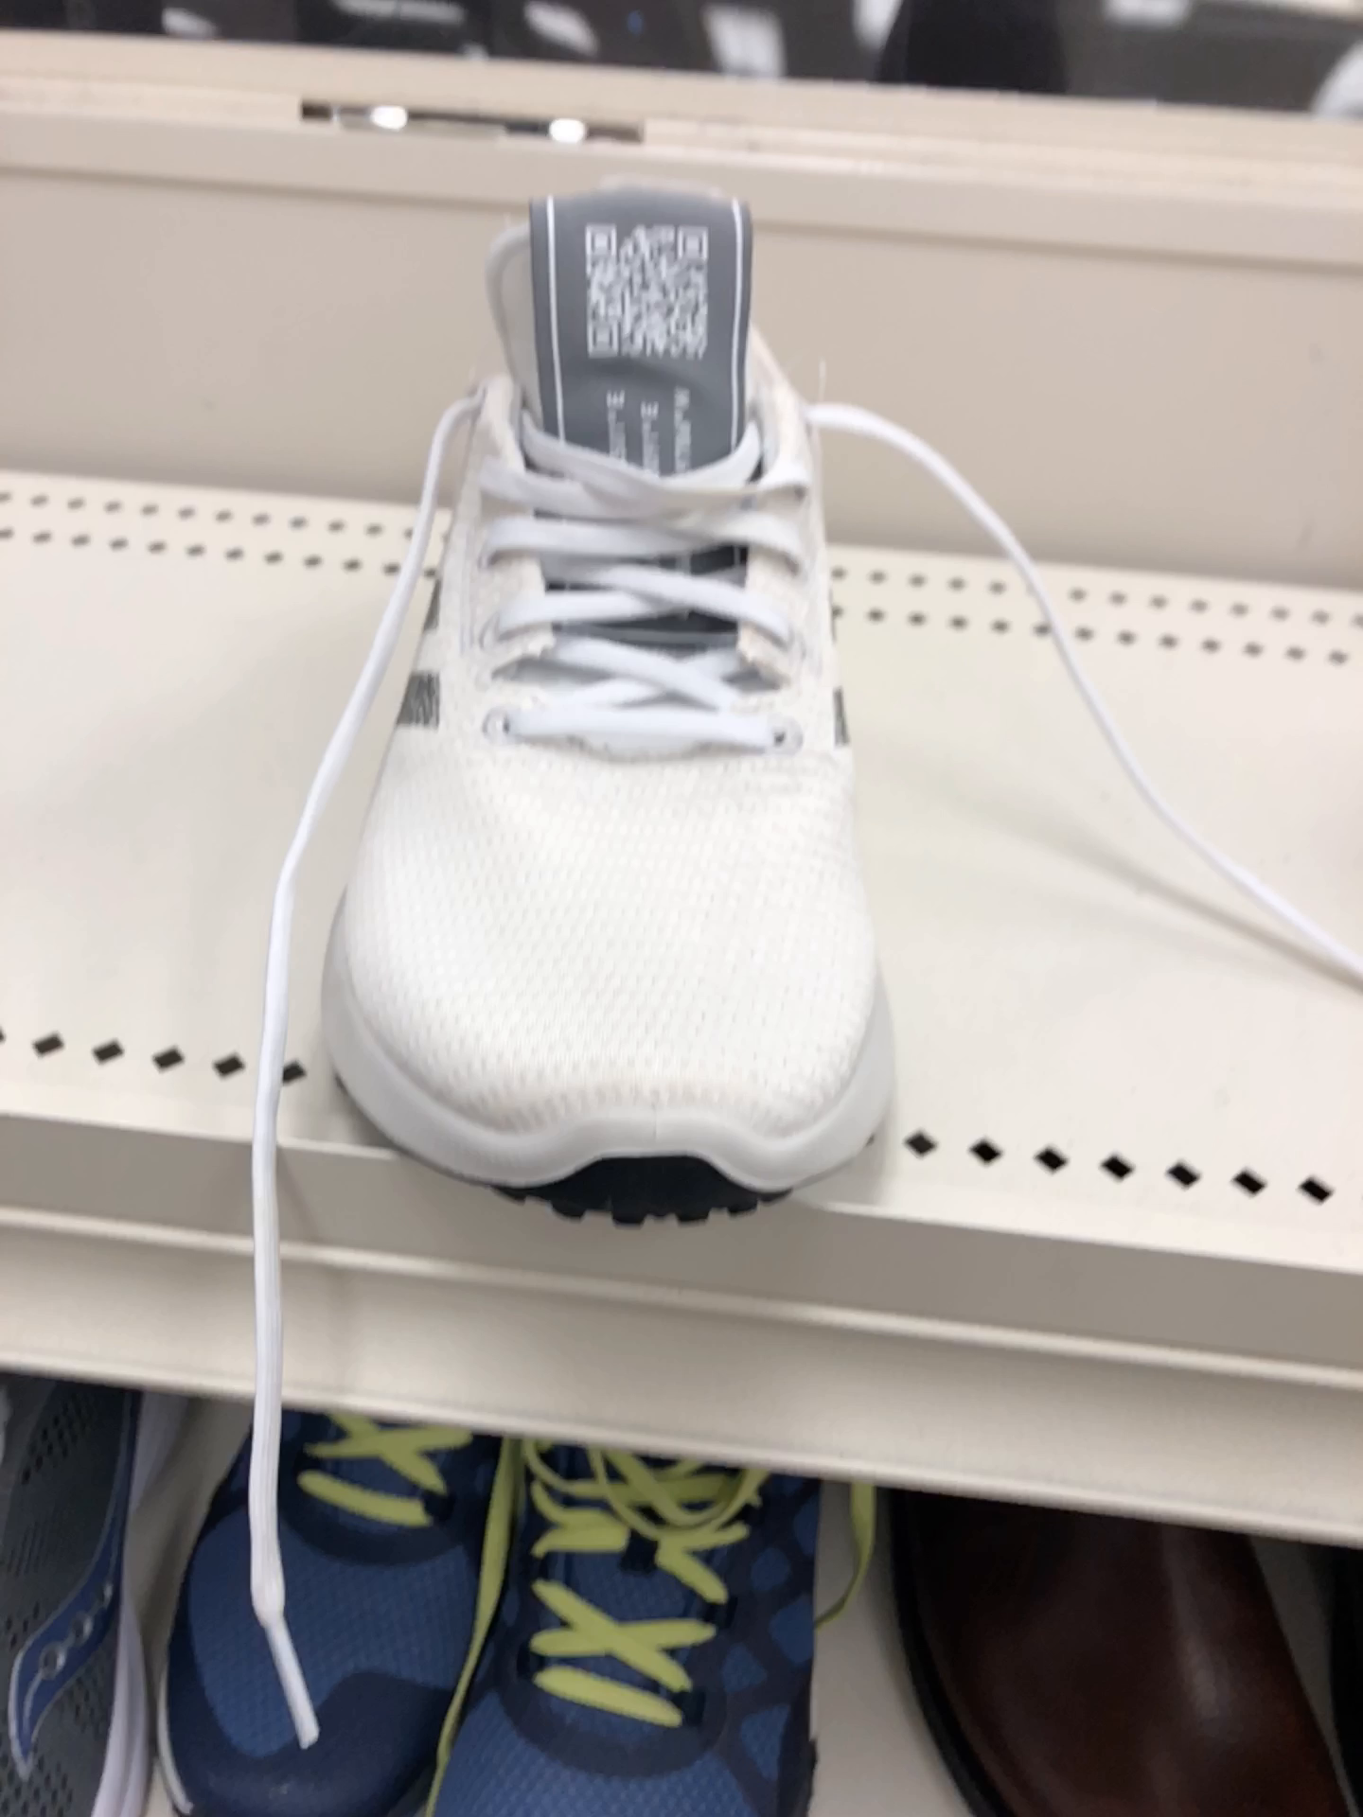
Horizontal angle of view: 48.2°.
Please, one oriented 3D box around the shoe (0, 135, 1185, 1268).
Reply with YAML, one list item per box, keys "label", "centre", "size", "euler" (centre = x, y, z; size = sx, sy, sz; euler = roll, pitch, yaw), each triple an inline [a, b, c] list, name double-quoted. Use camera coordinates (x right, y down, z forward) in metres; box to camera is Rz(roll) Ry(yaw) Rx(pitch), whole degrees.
- label: "shoe"
  centre: [-0.014, -0.100, 0.364]
  size: [0.128, 0.139, 0.383]
  euler: [3, 28, -2]
